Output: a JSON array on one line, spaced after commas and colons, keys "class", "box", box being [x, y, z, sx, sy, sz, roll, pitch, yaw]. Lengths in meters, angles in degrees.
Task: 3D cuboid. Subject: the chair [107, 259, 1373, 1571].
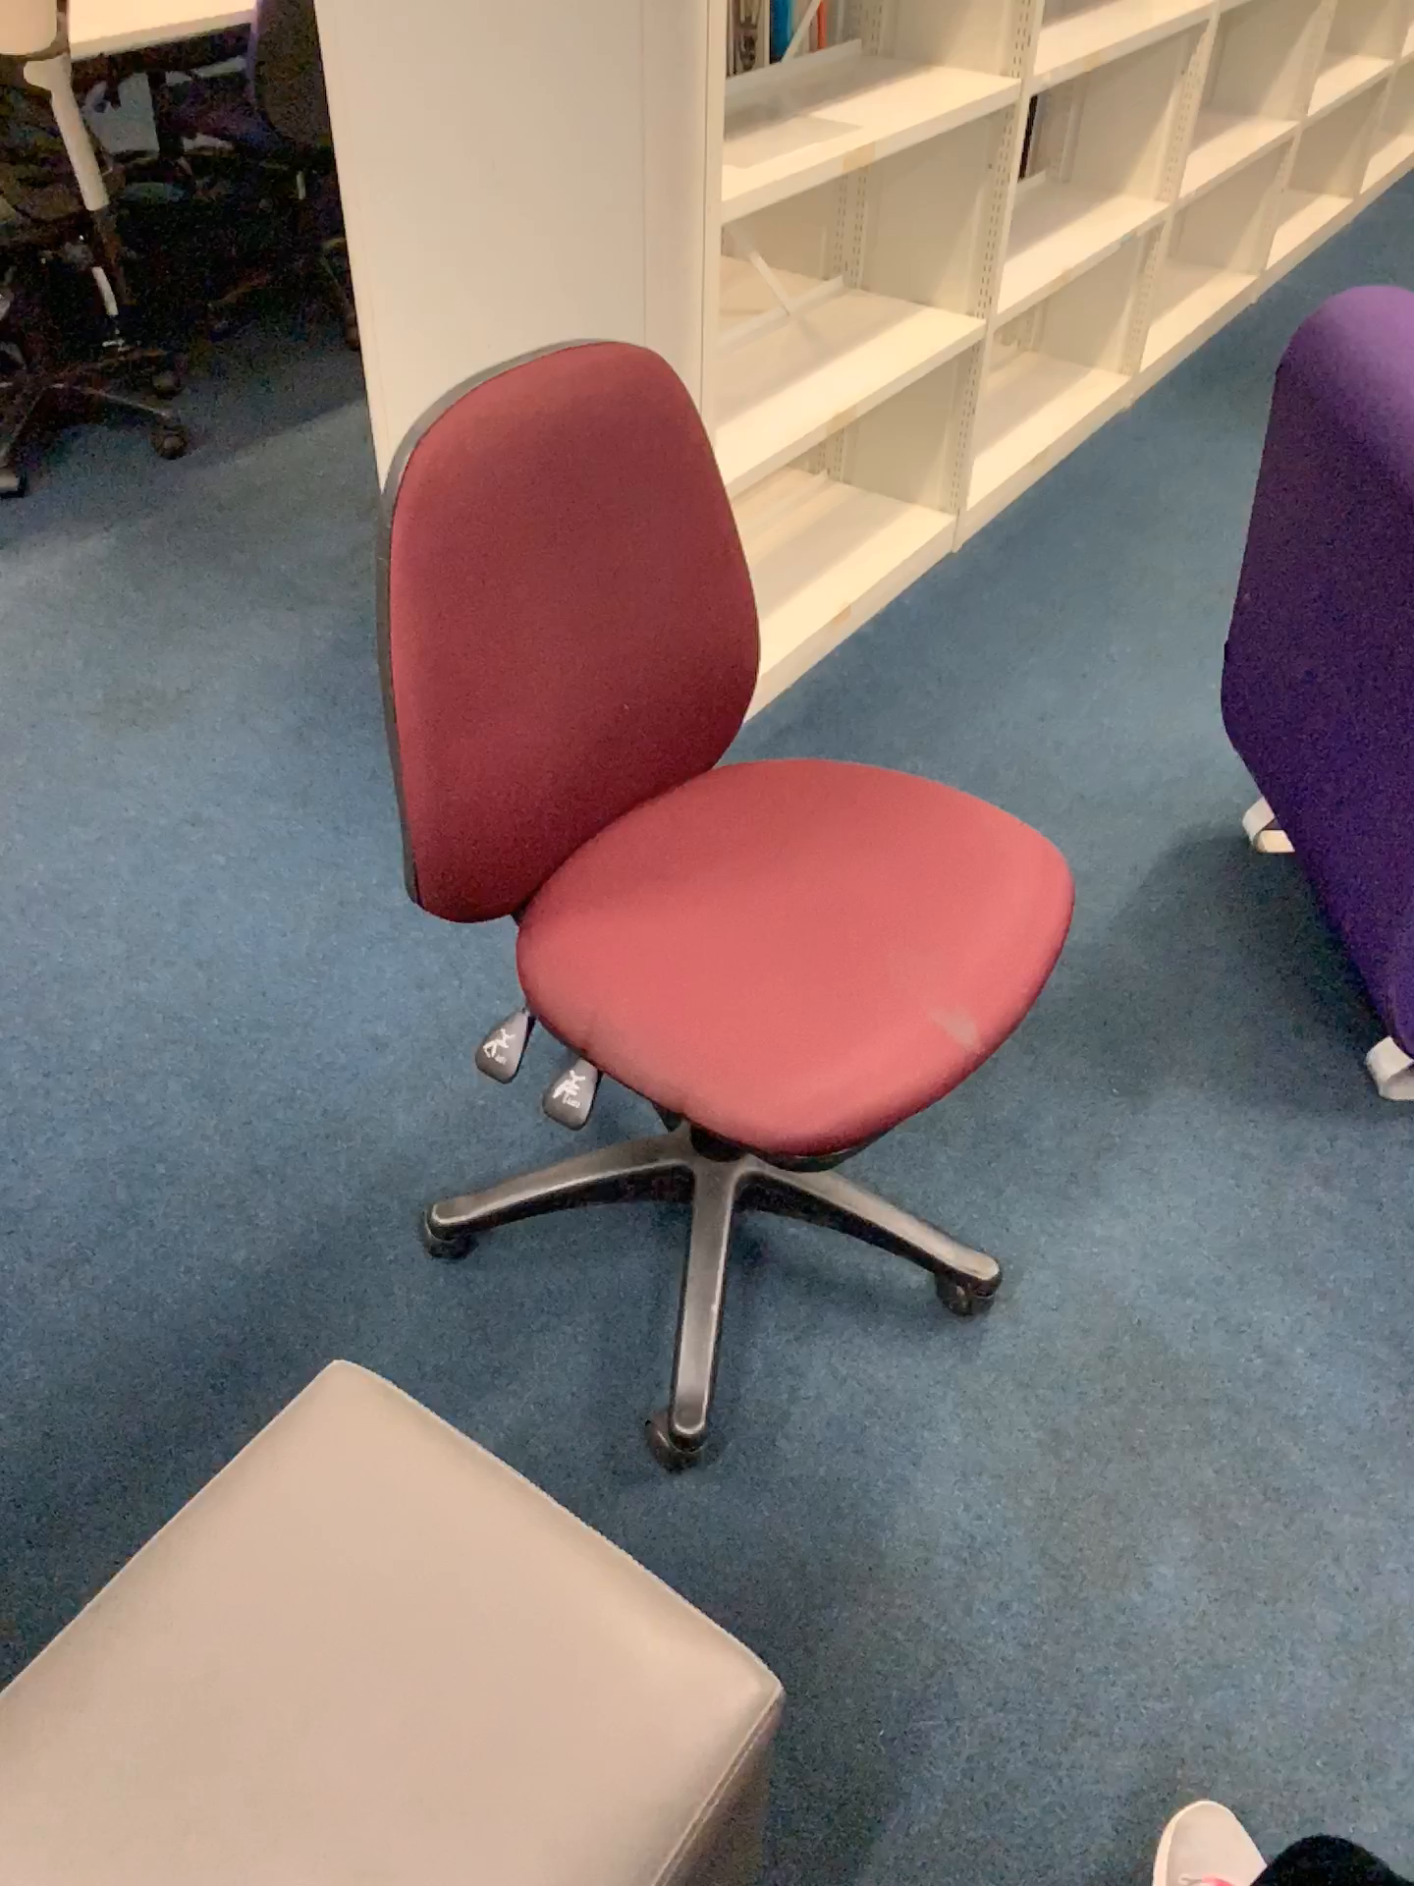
[{"class": "chair", "box": [0.028, -0.067, 1.333, 0.693, 0.782, 0.654, 30, 49, 27]}]
